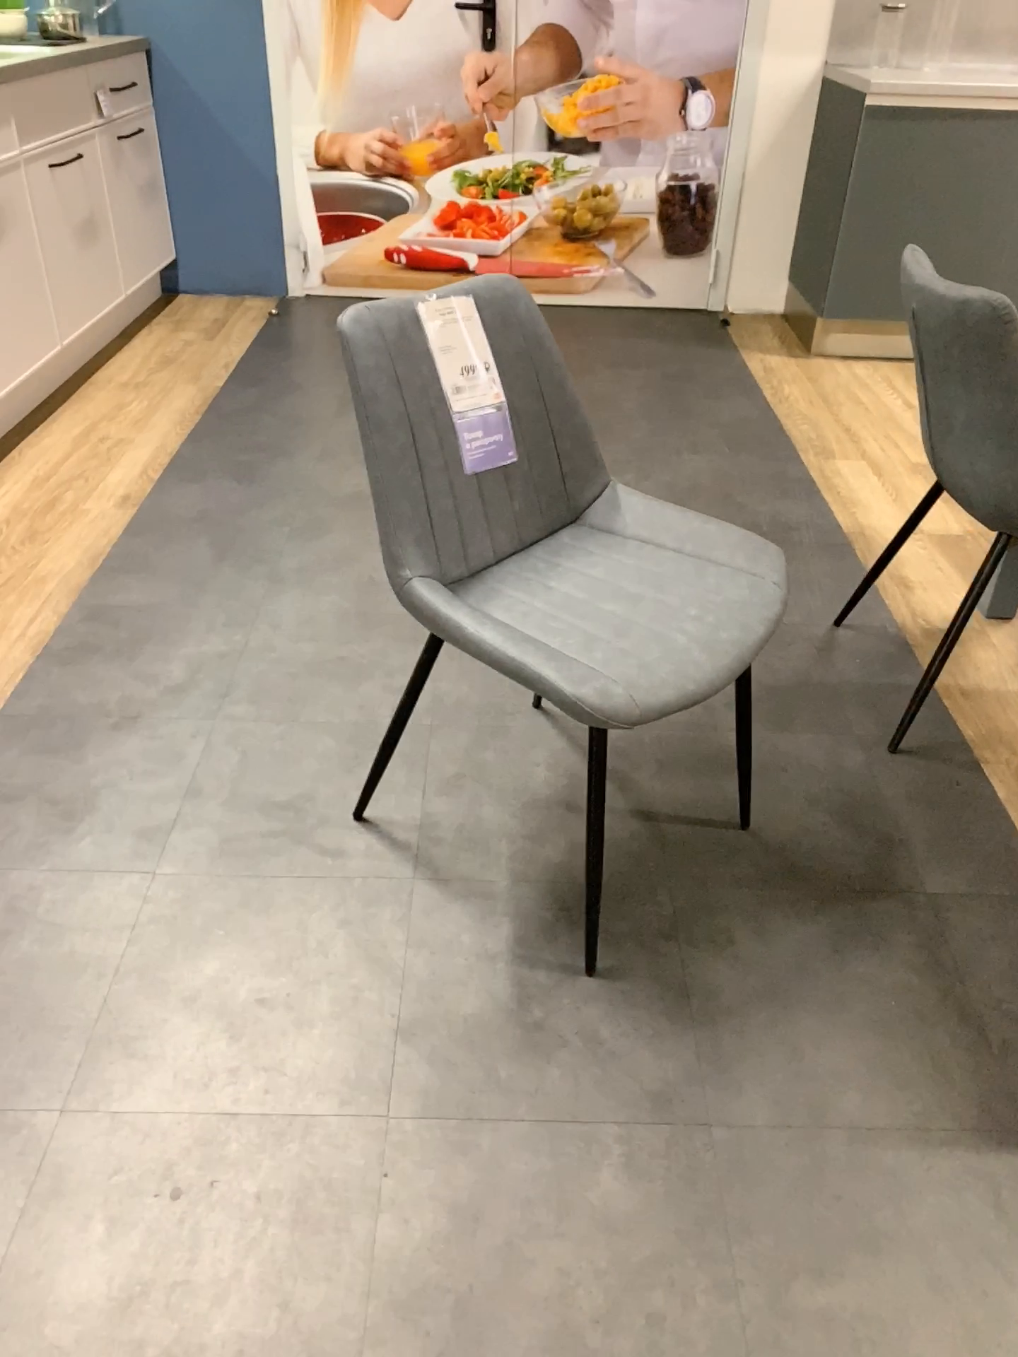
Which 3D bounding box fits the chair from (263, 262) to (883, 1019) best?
[{"bbox_3d":[0.070,-0.089,1.556,0.590,0.833,0.524,28,42,33],"label":"chair"}]
